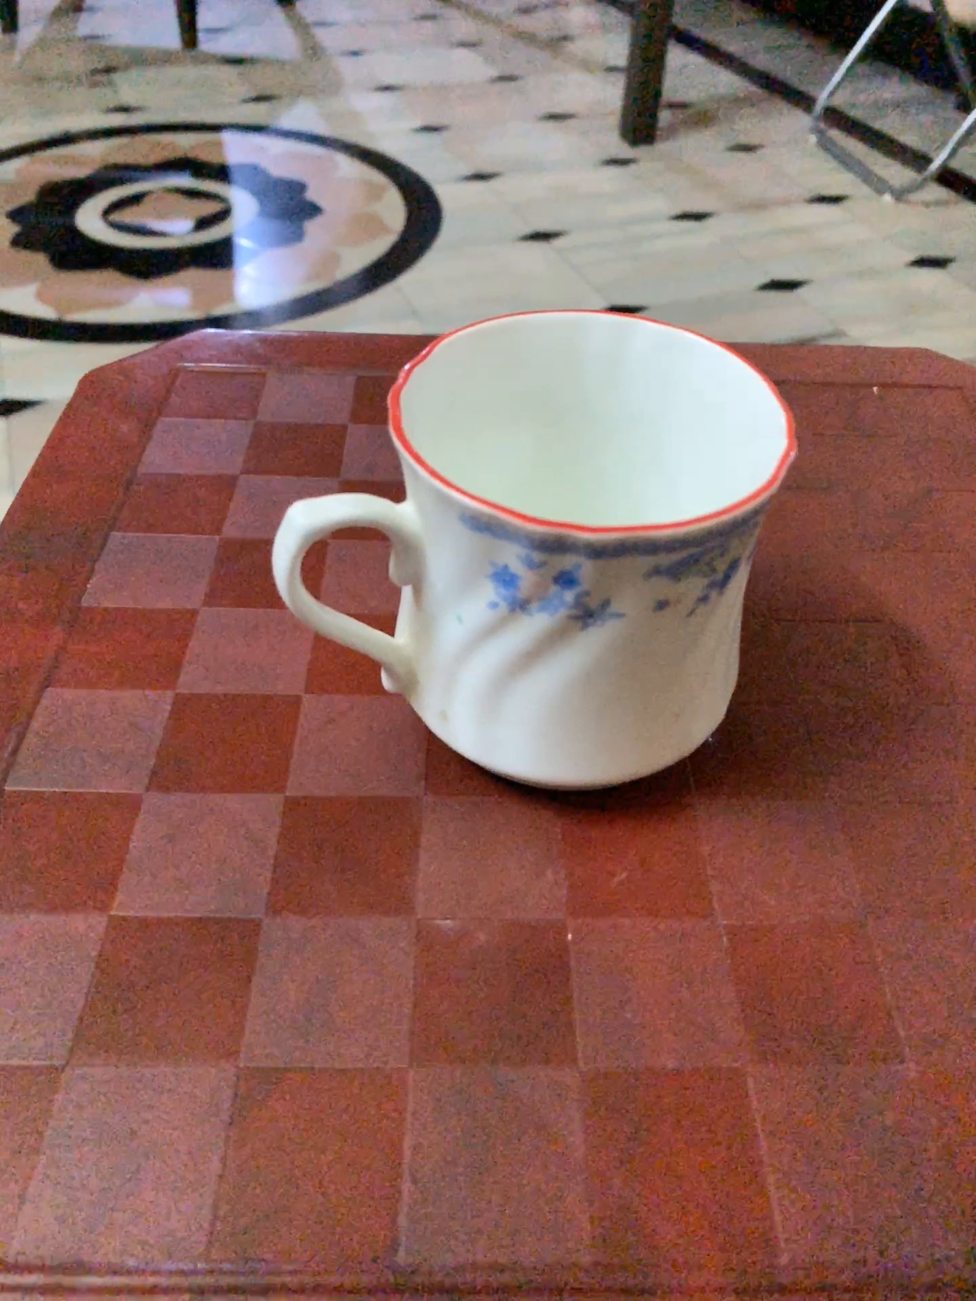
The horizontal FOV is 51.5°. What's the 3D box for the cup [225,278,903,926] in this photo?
[{"bbox_3d":[0.008,-0.012,0.193,0.090,0.080,0.070,-14,46,-16],"label":"cup"}]
